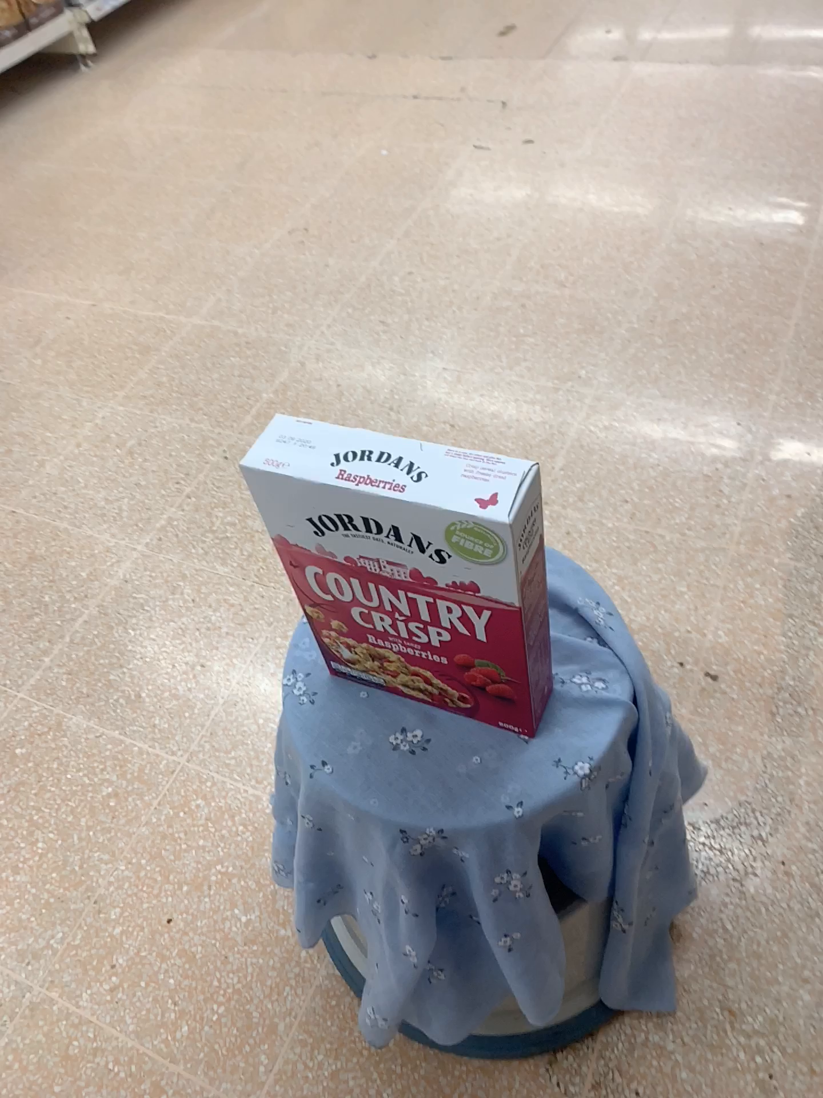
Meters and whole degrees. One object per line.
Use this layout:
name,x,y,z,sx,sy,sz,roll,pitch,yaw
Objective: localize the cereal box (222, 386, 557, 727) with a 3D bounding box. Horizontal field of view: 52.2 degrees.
cereal box,0.000,0.016,0.626,0.200,0.268,0.060,14,56,21
